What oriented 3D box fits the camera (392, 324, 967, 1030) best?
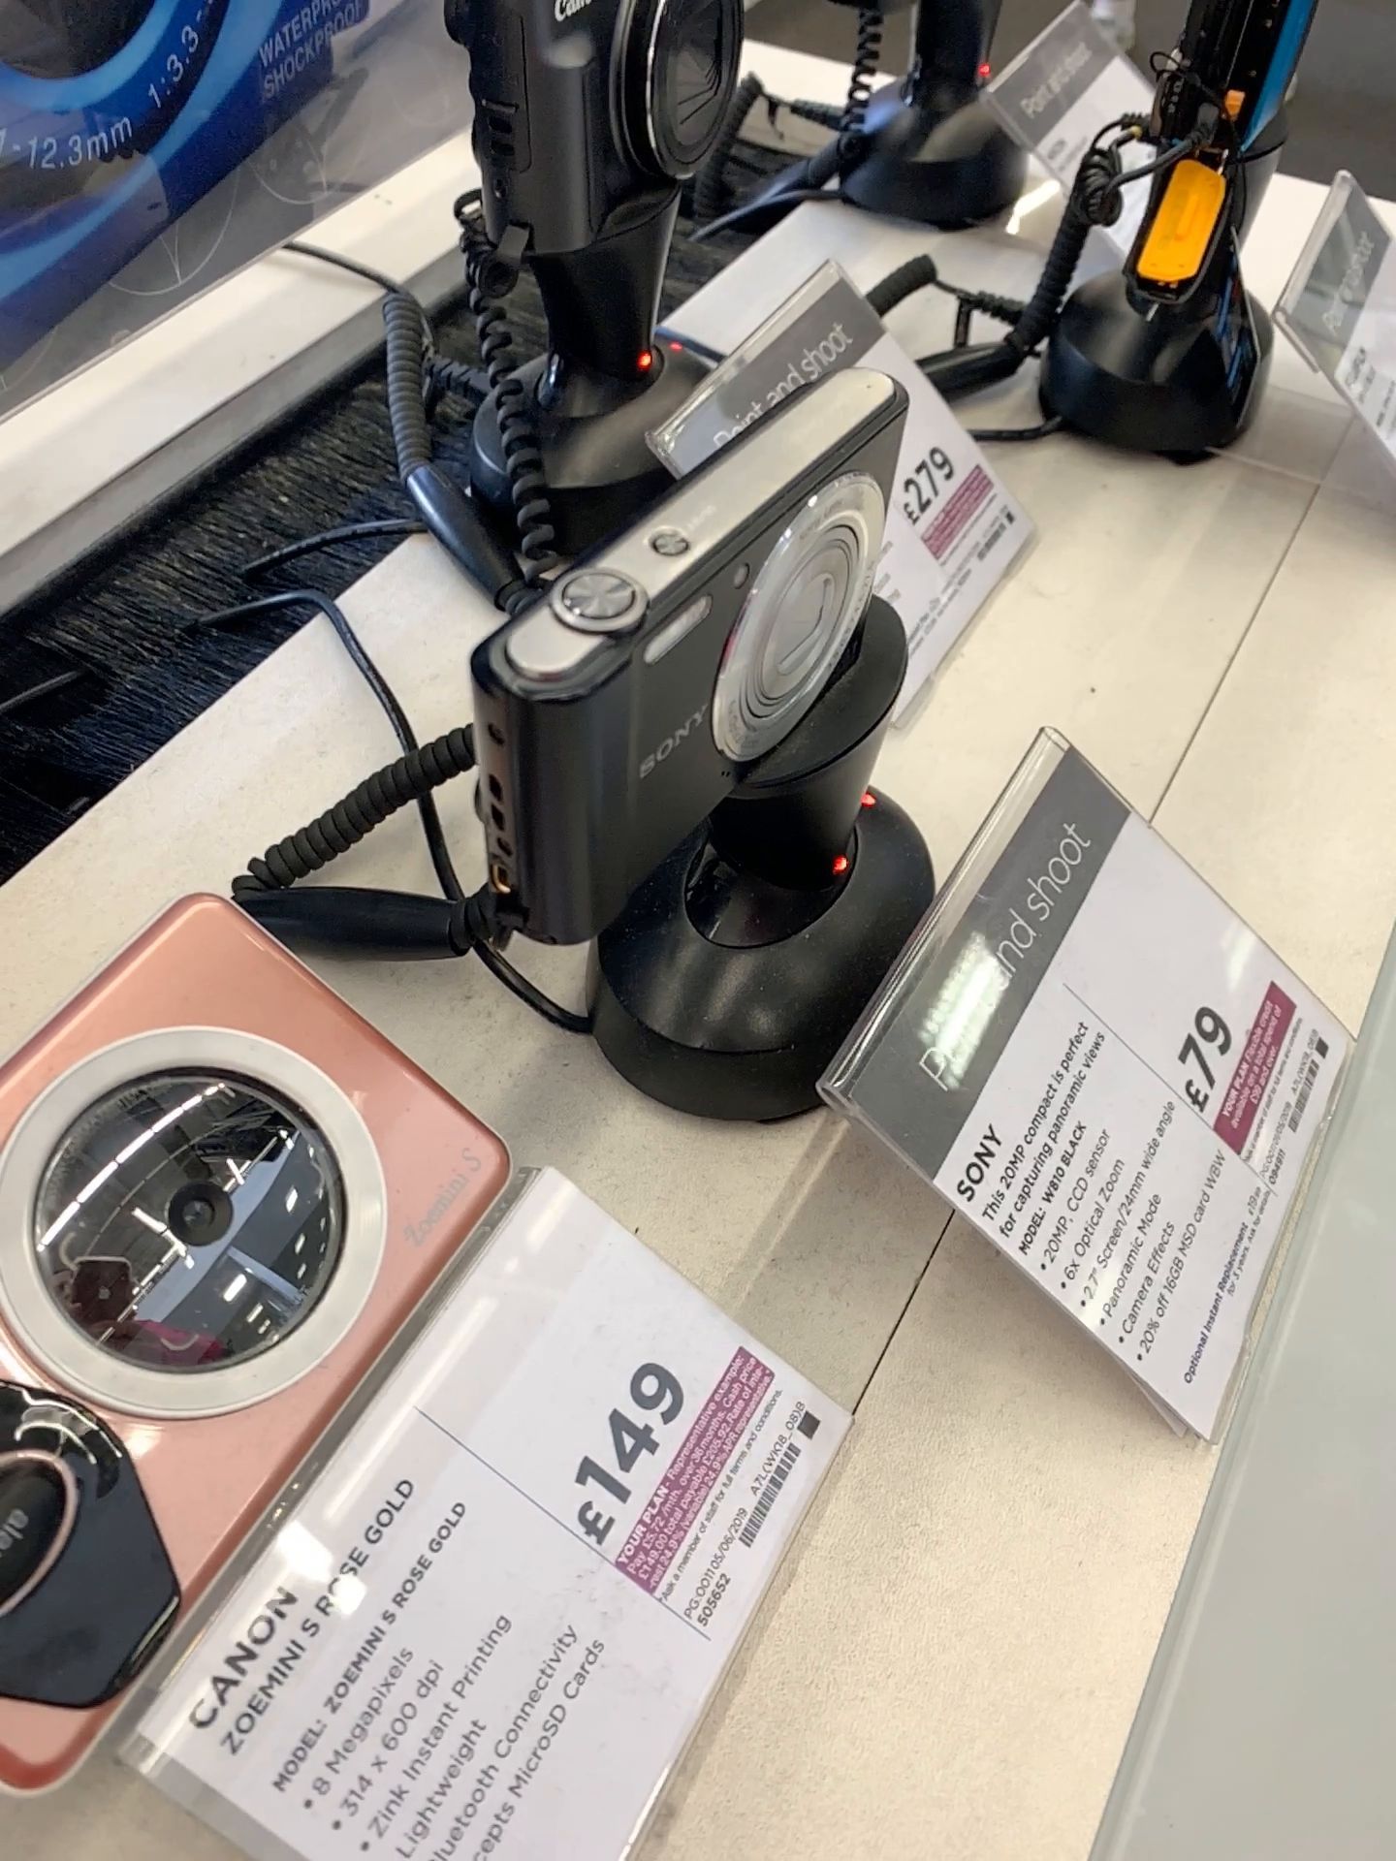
[{"bbox_3d":[0.001,-0.042,0.226,0.030,0.059,0.101,28,55,20],"label":"camera"}]
